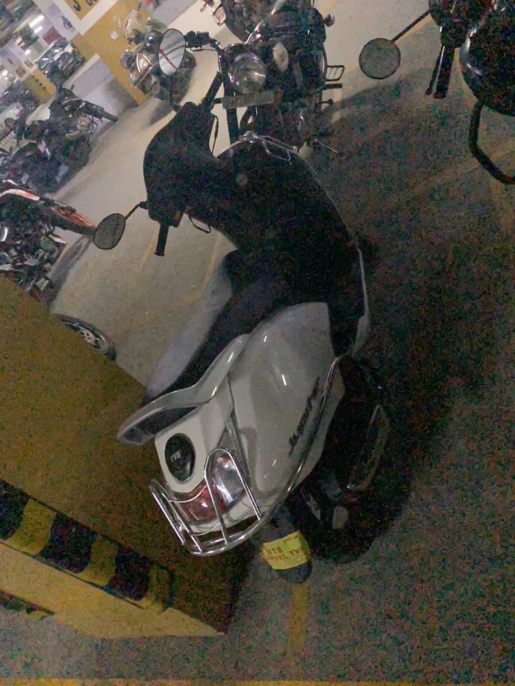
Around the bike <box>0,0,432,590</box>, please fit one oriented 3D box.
[{"bbox_3d":[-0.061,-0.187,1.830,0.650,1.157,1.535,-23,42,29],"label":"bike"}]
